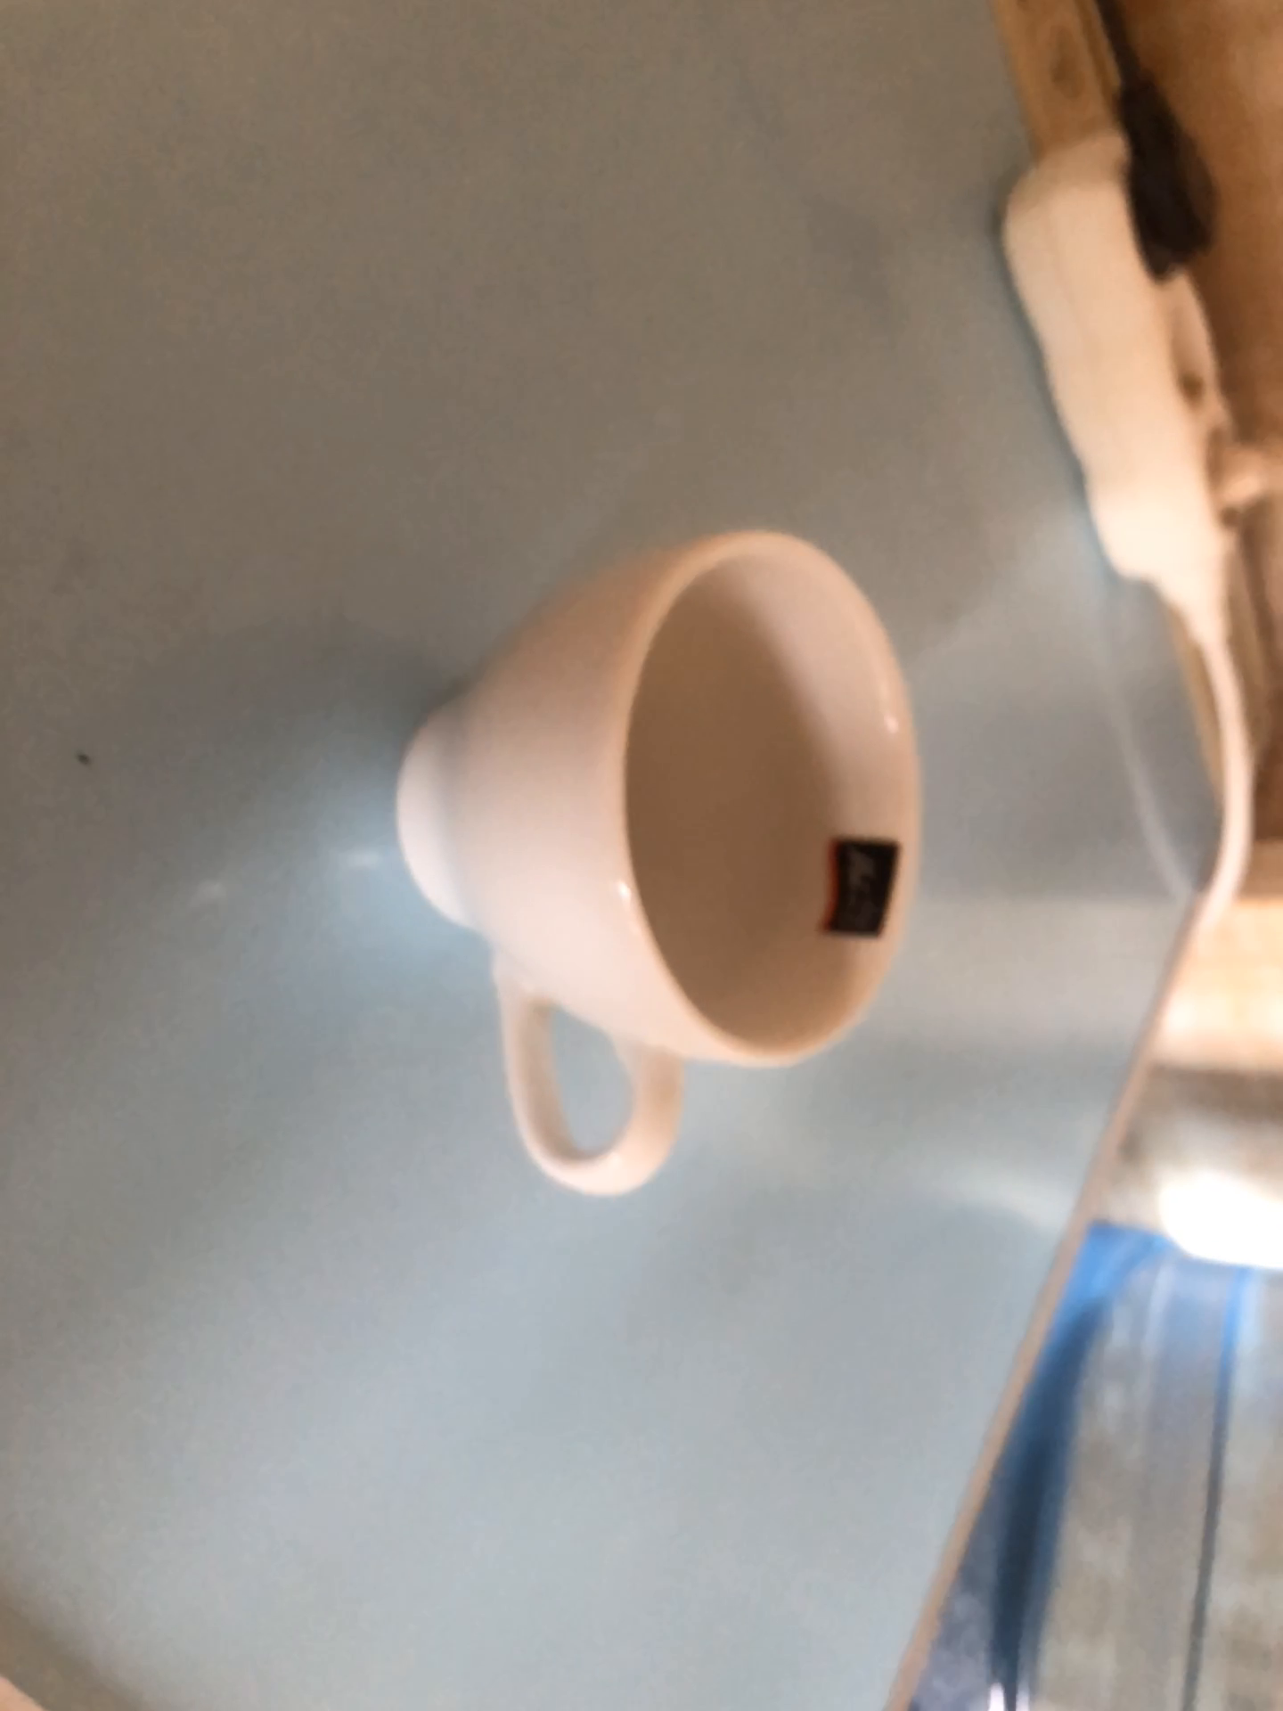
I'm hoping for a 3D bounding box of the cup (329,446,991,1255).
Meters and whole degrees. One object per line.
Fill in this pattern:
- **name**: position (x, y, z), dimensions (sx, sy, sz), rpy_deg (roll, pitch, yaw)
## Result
- **cup**: position (0.008, 0.005, 0.251), dimensions (0.089, 0.065, 0.111), rpy_deg (13, 78, -49)
